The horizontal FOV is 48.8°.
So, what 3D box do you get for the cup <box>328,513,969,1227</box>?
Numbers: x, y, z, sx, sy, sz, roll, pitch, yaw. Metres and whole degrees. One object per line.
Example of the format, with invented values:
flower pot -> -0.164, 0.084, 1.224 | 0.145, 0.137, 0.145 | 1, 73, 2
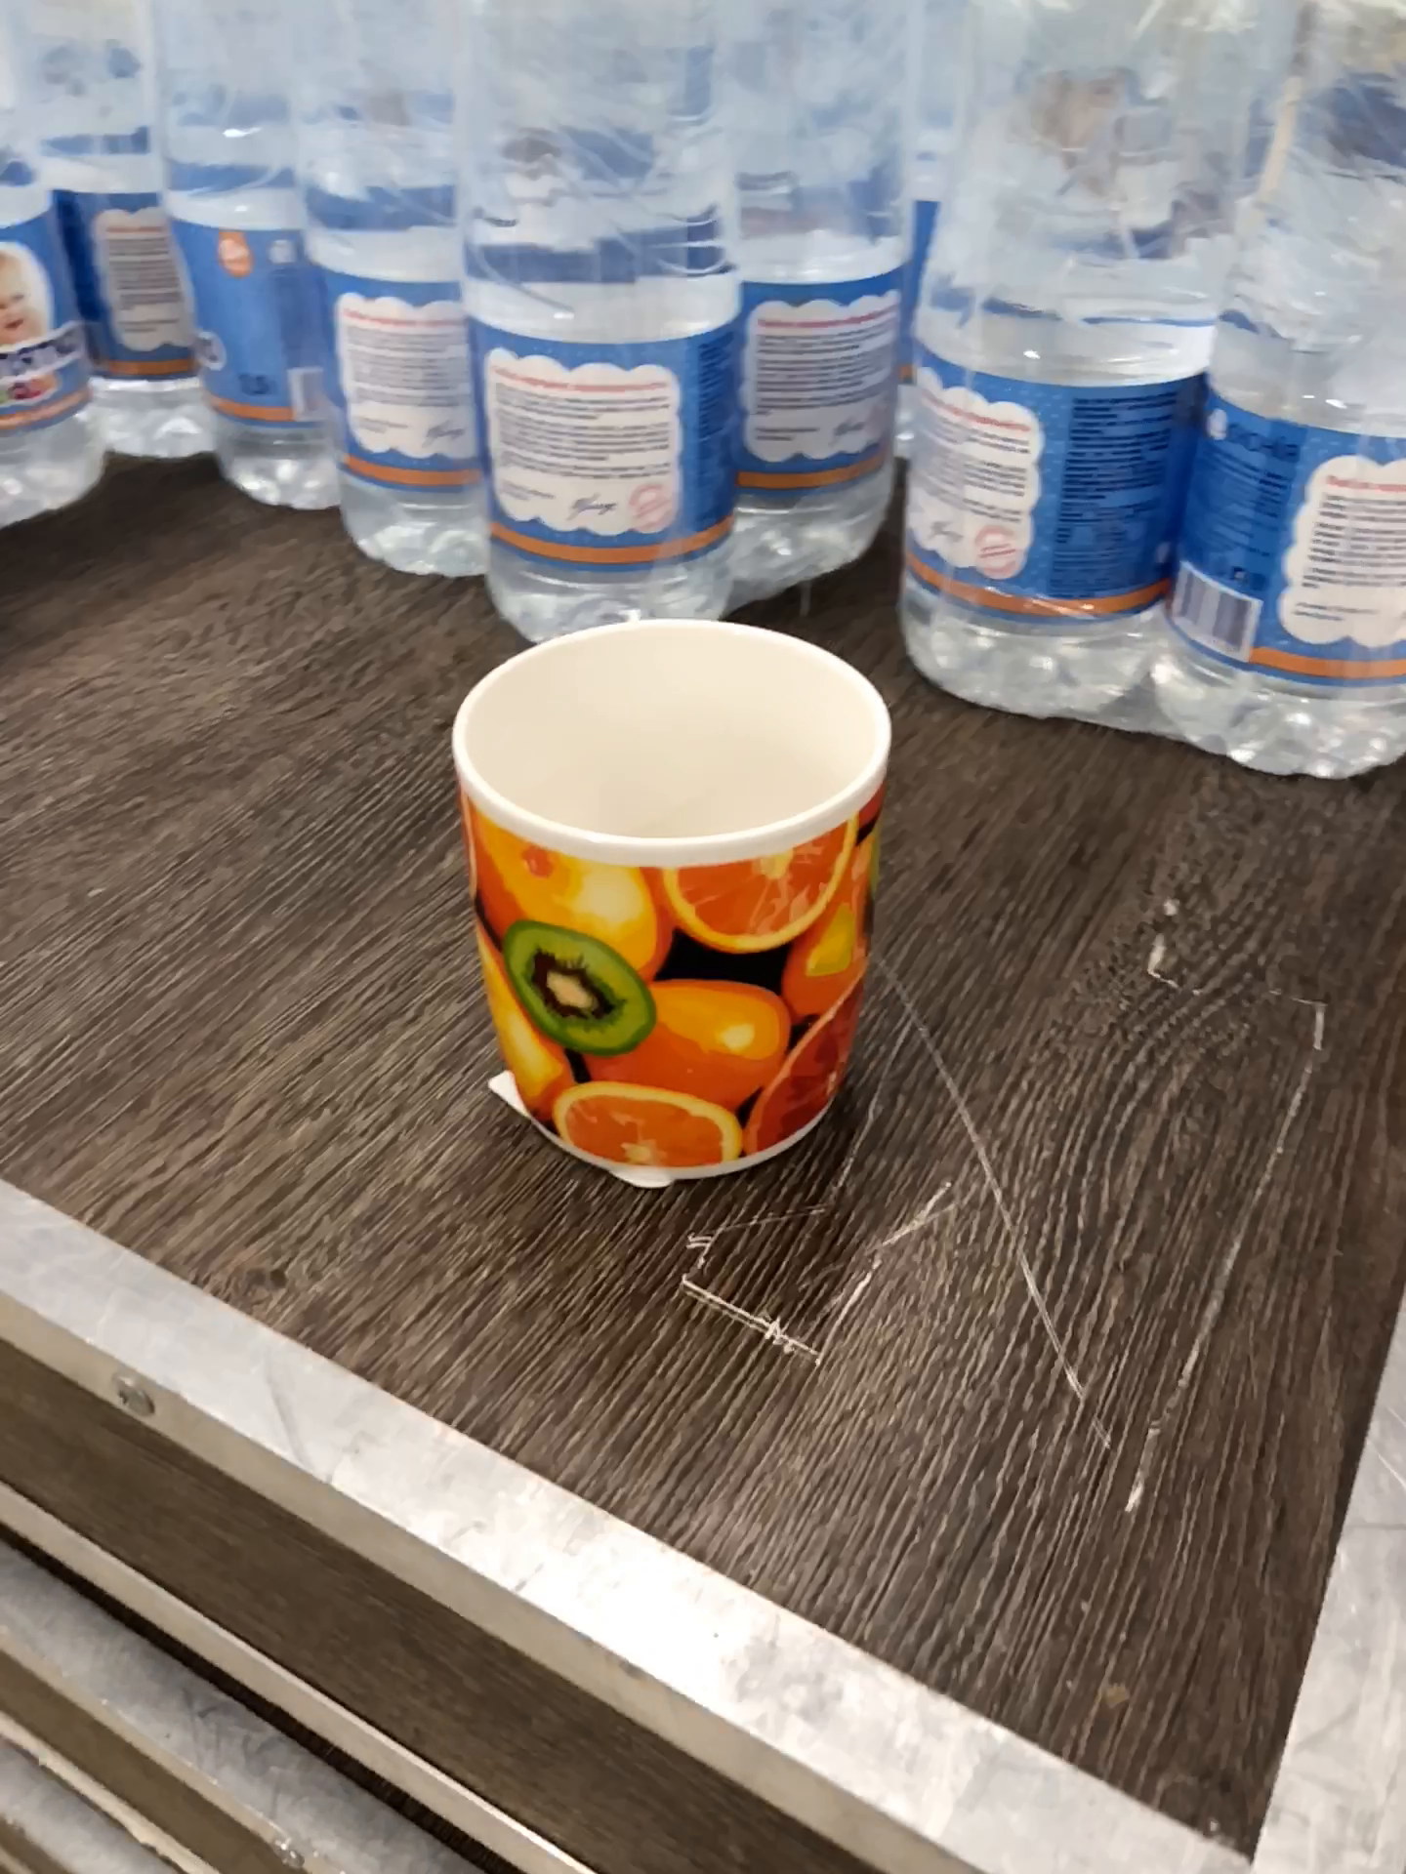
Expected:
cup -> -0.004, -0.022, 0.340 | 0.091, 0.085, 0.127 | 12, 39, 15
